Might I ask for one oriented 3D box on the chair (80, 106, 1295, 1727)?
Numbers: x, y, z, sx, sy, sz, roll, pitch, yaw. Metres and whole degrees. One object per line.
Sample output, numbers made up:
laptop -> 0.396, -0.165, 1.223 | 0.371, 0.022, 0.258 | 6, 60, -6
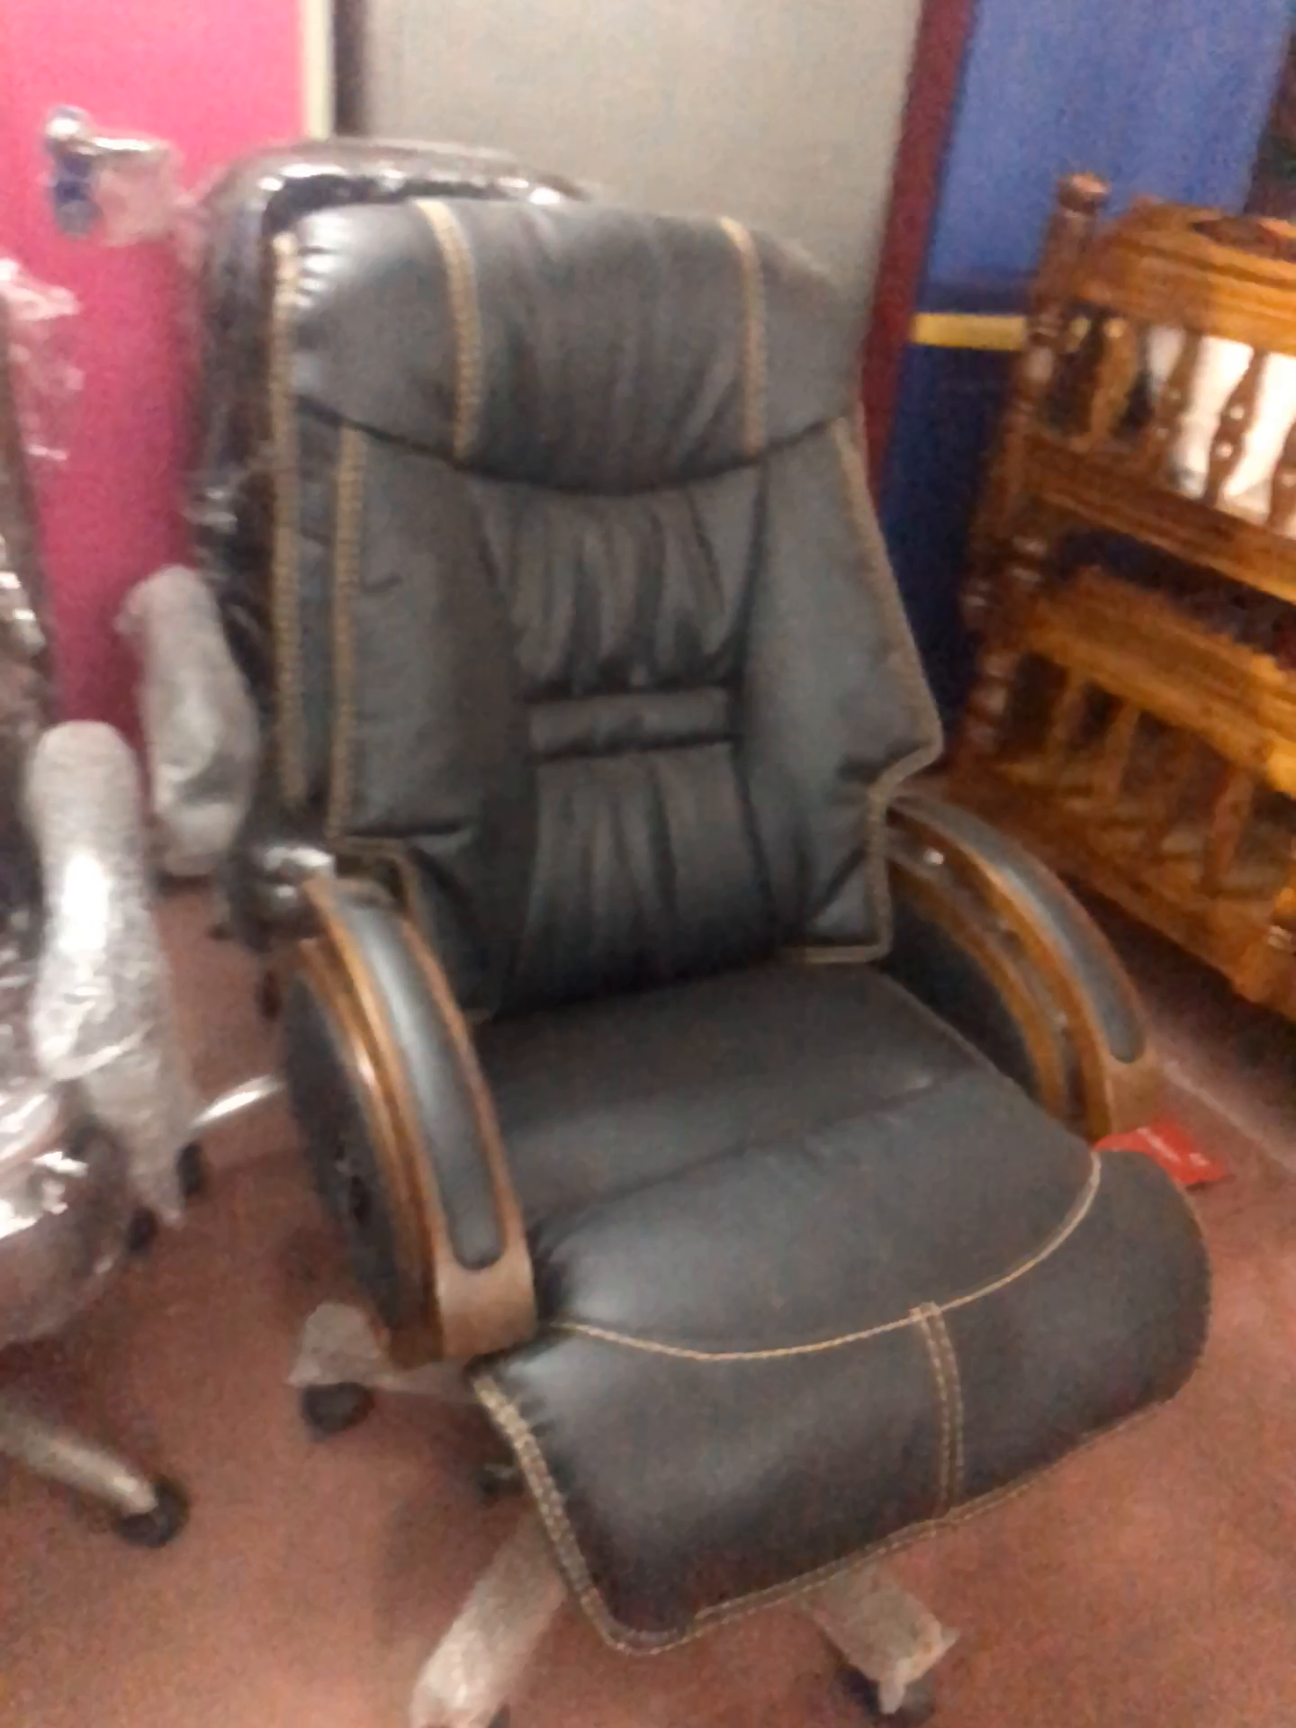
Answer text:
chair -> 0.052, 0.054, 1.087 | 0.702, 0.995, 0.792 | -10, 33, -26
